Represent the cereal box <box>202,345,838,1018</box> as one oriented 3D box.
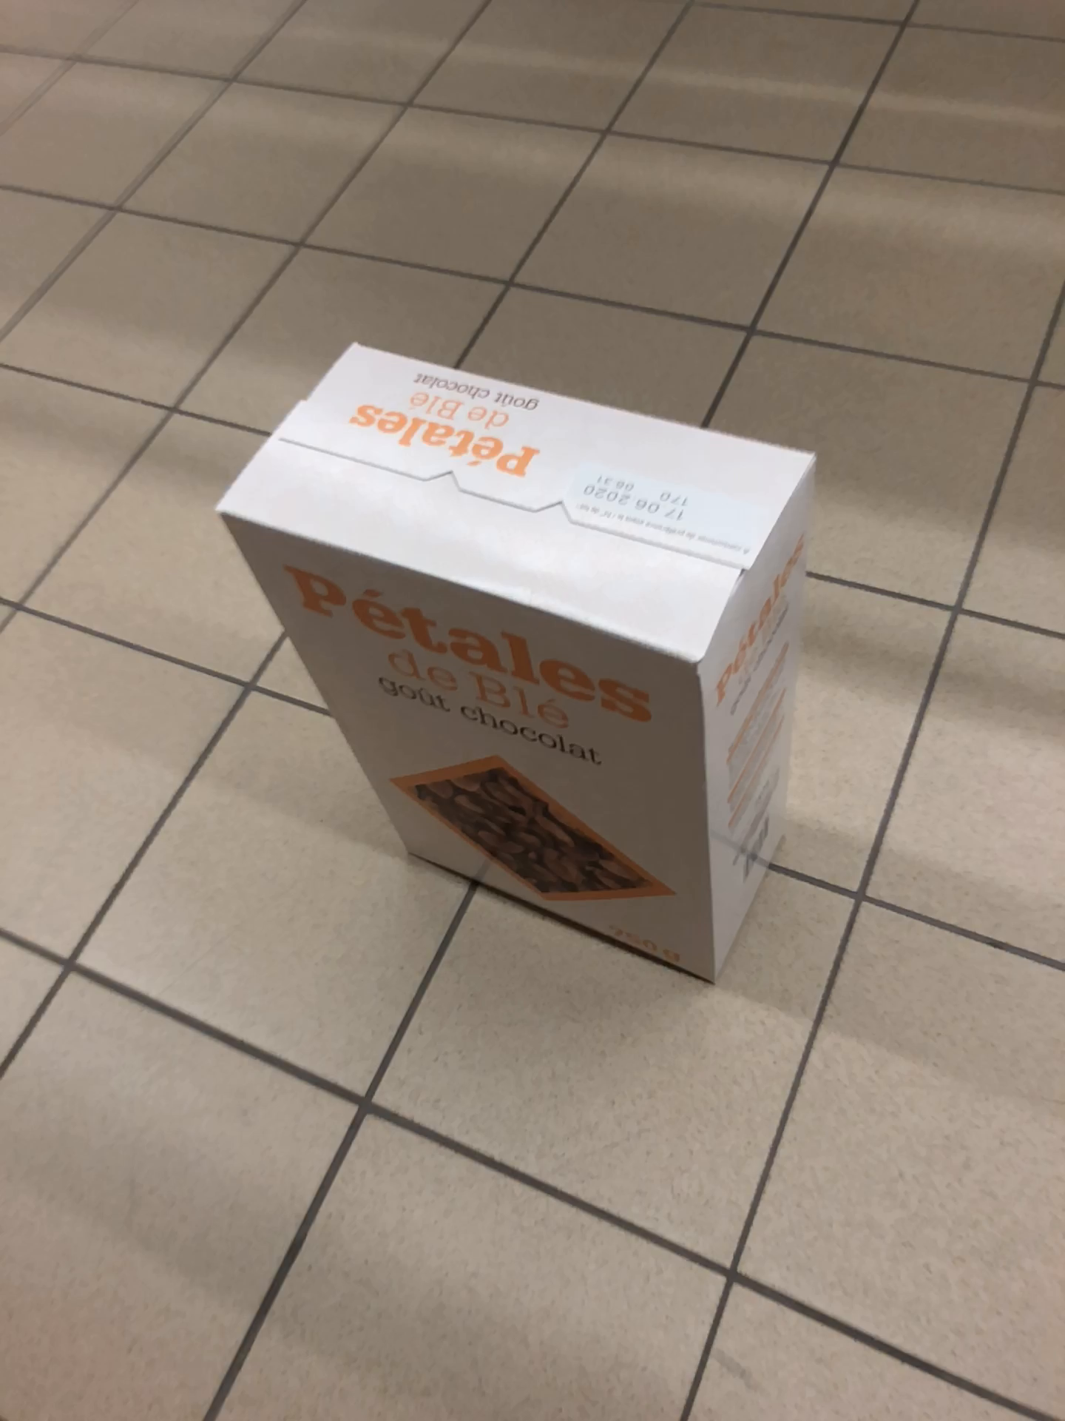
[{"bbox_3d":[0.014,0.006,0.512,0.190,0.289,0.100,19,63,20],"label":"cereal box"}]
